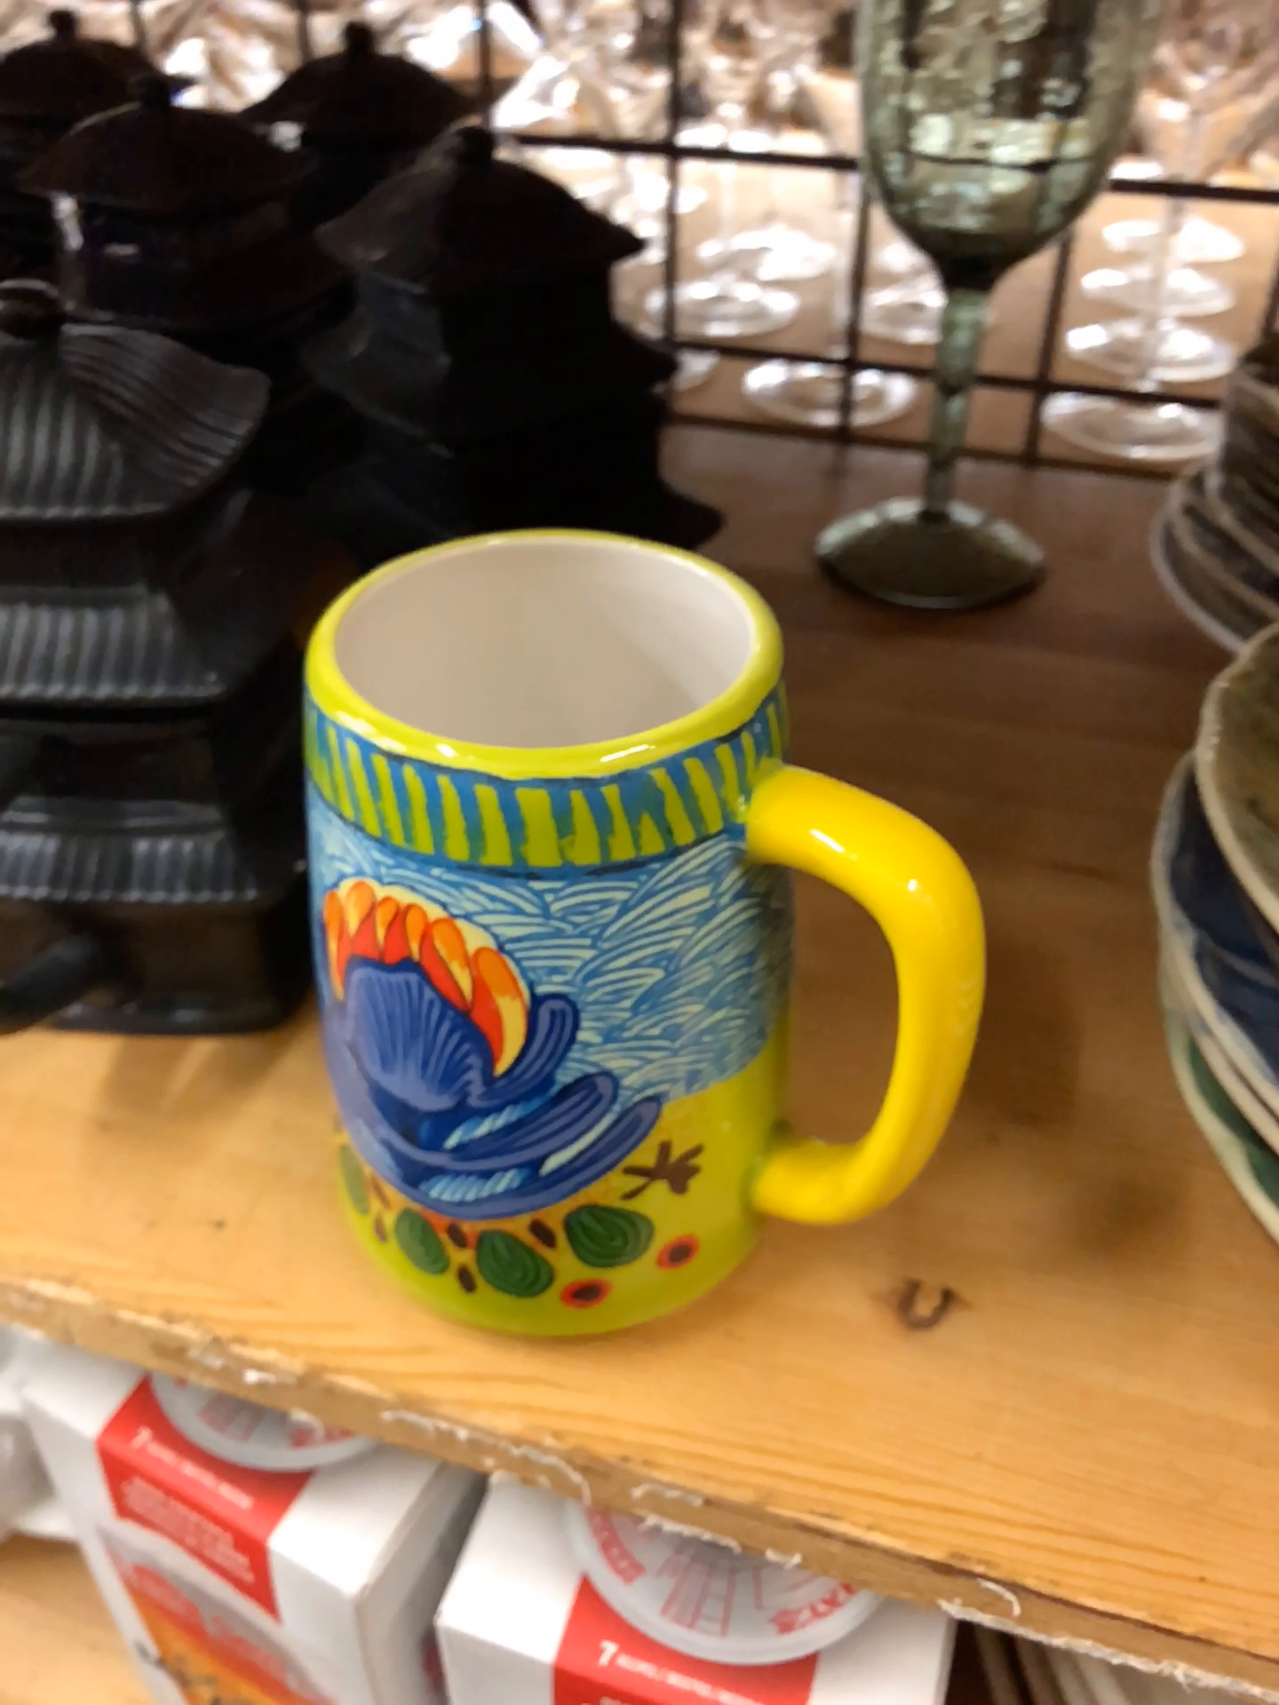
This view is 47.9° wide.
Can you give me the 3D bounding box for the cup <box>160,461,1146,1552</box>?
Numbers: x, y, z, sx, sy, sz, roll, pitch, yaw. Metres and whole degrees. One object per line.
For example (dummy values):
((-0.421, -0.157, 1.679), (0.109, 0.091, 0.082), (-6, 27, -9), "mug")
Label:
((0.002, 0.020, 0.245), (0.114, 0.125, 0.086), (24, 43, 29), "cup")
